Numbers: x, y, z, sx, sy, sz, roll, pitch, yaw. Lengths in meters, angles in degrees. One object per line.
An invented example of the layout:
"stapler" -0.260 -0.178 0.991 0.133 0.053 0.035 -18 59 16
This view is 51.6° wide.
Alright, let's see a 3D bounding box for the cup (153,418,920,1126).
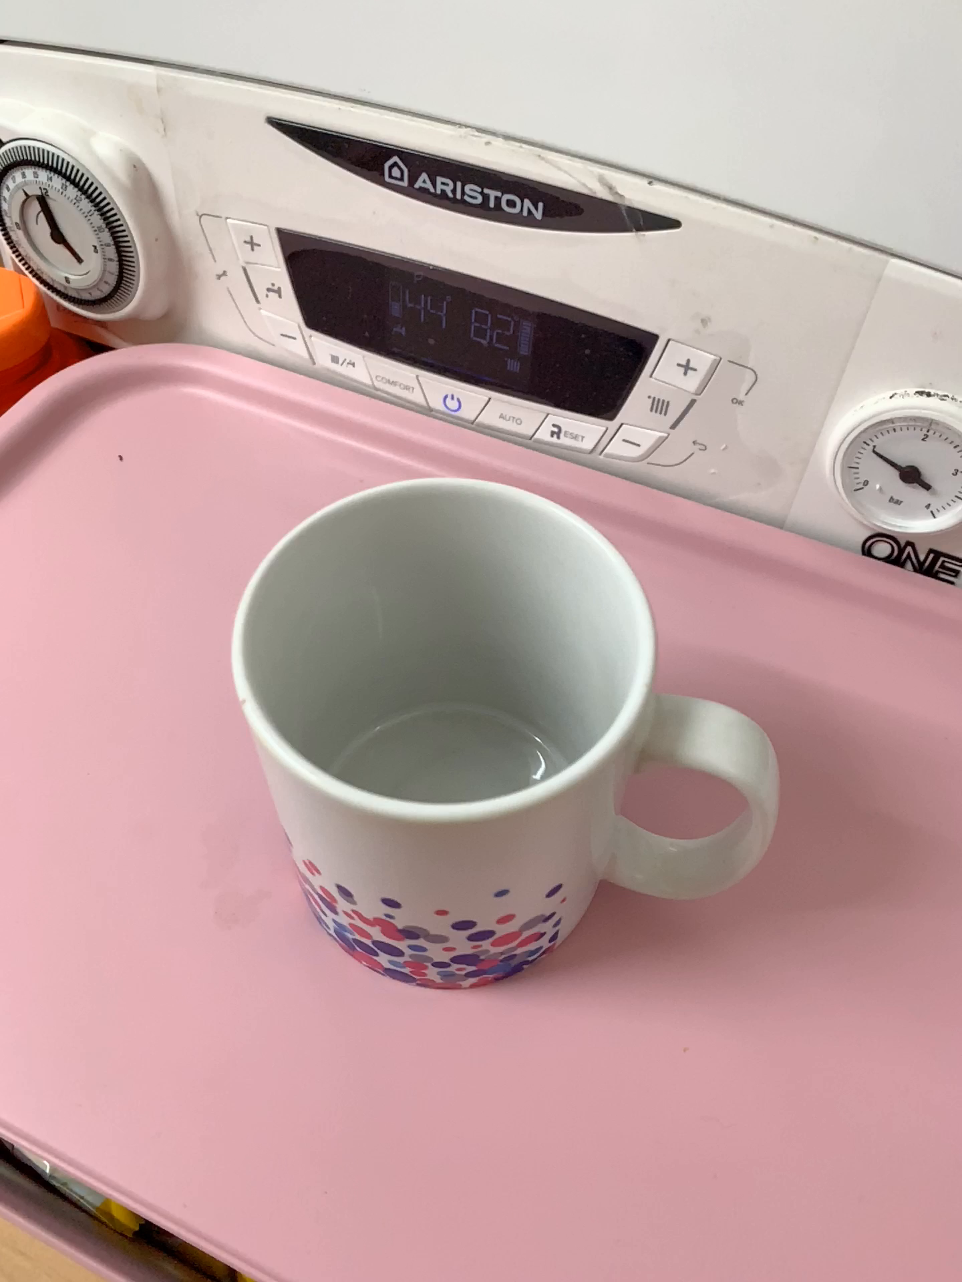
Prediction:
"cup" 0.013 0.027 0.213 0.120 0.089 0.081 18 50 11
